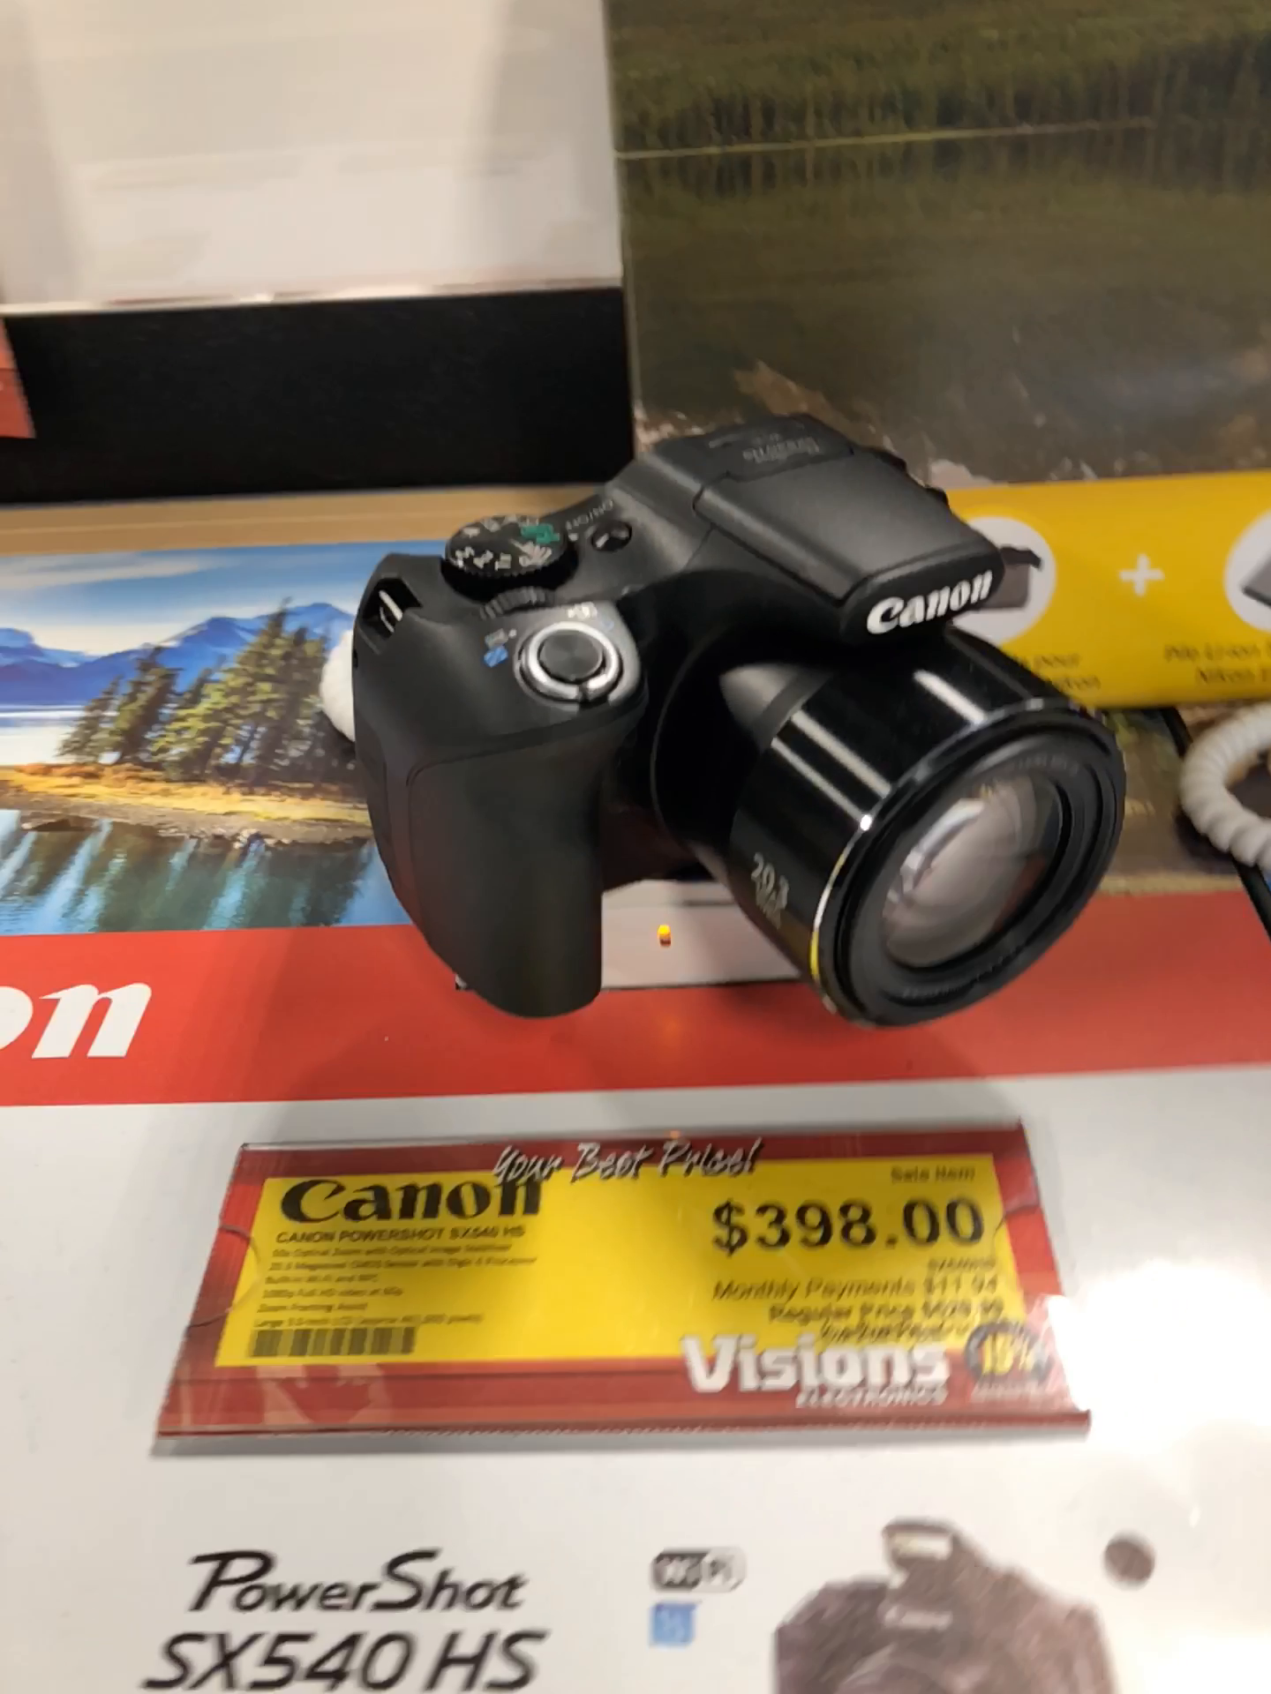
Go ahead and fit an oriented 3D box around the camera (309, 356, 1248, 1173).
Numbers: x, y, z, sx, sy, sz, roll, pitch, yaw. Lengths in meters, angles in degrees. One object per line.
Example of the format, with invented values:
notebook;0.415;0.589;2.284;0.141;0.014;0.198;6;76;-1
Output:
camera;0.020;-0.023;0.248;0.120;0.079;0.091;-19;39;-18
